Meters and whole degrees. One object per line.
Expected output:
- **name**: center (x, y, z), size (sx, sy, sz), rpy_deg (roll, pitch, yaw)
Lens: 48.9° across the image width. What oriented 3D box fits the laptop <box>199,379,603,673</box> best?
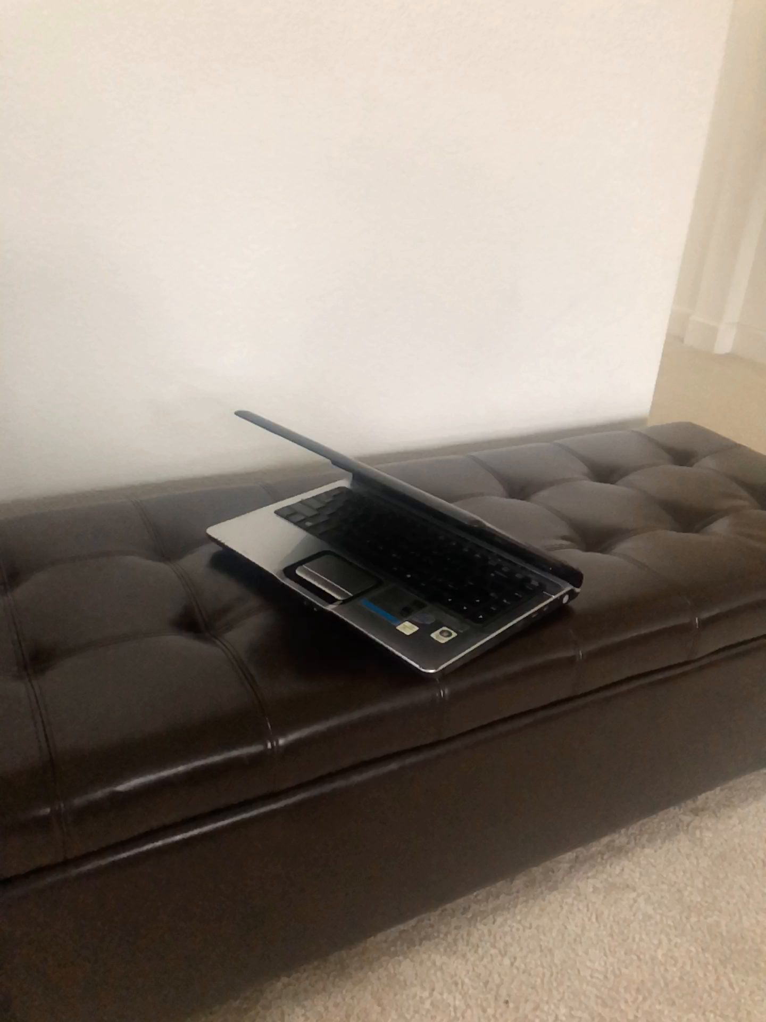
- **laptop**: center (0.007, -0.012, 0.840), size (0.230, 0.122, 0.333), rpy_deg (-20, 34, -41)
